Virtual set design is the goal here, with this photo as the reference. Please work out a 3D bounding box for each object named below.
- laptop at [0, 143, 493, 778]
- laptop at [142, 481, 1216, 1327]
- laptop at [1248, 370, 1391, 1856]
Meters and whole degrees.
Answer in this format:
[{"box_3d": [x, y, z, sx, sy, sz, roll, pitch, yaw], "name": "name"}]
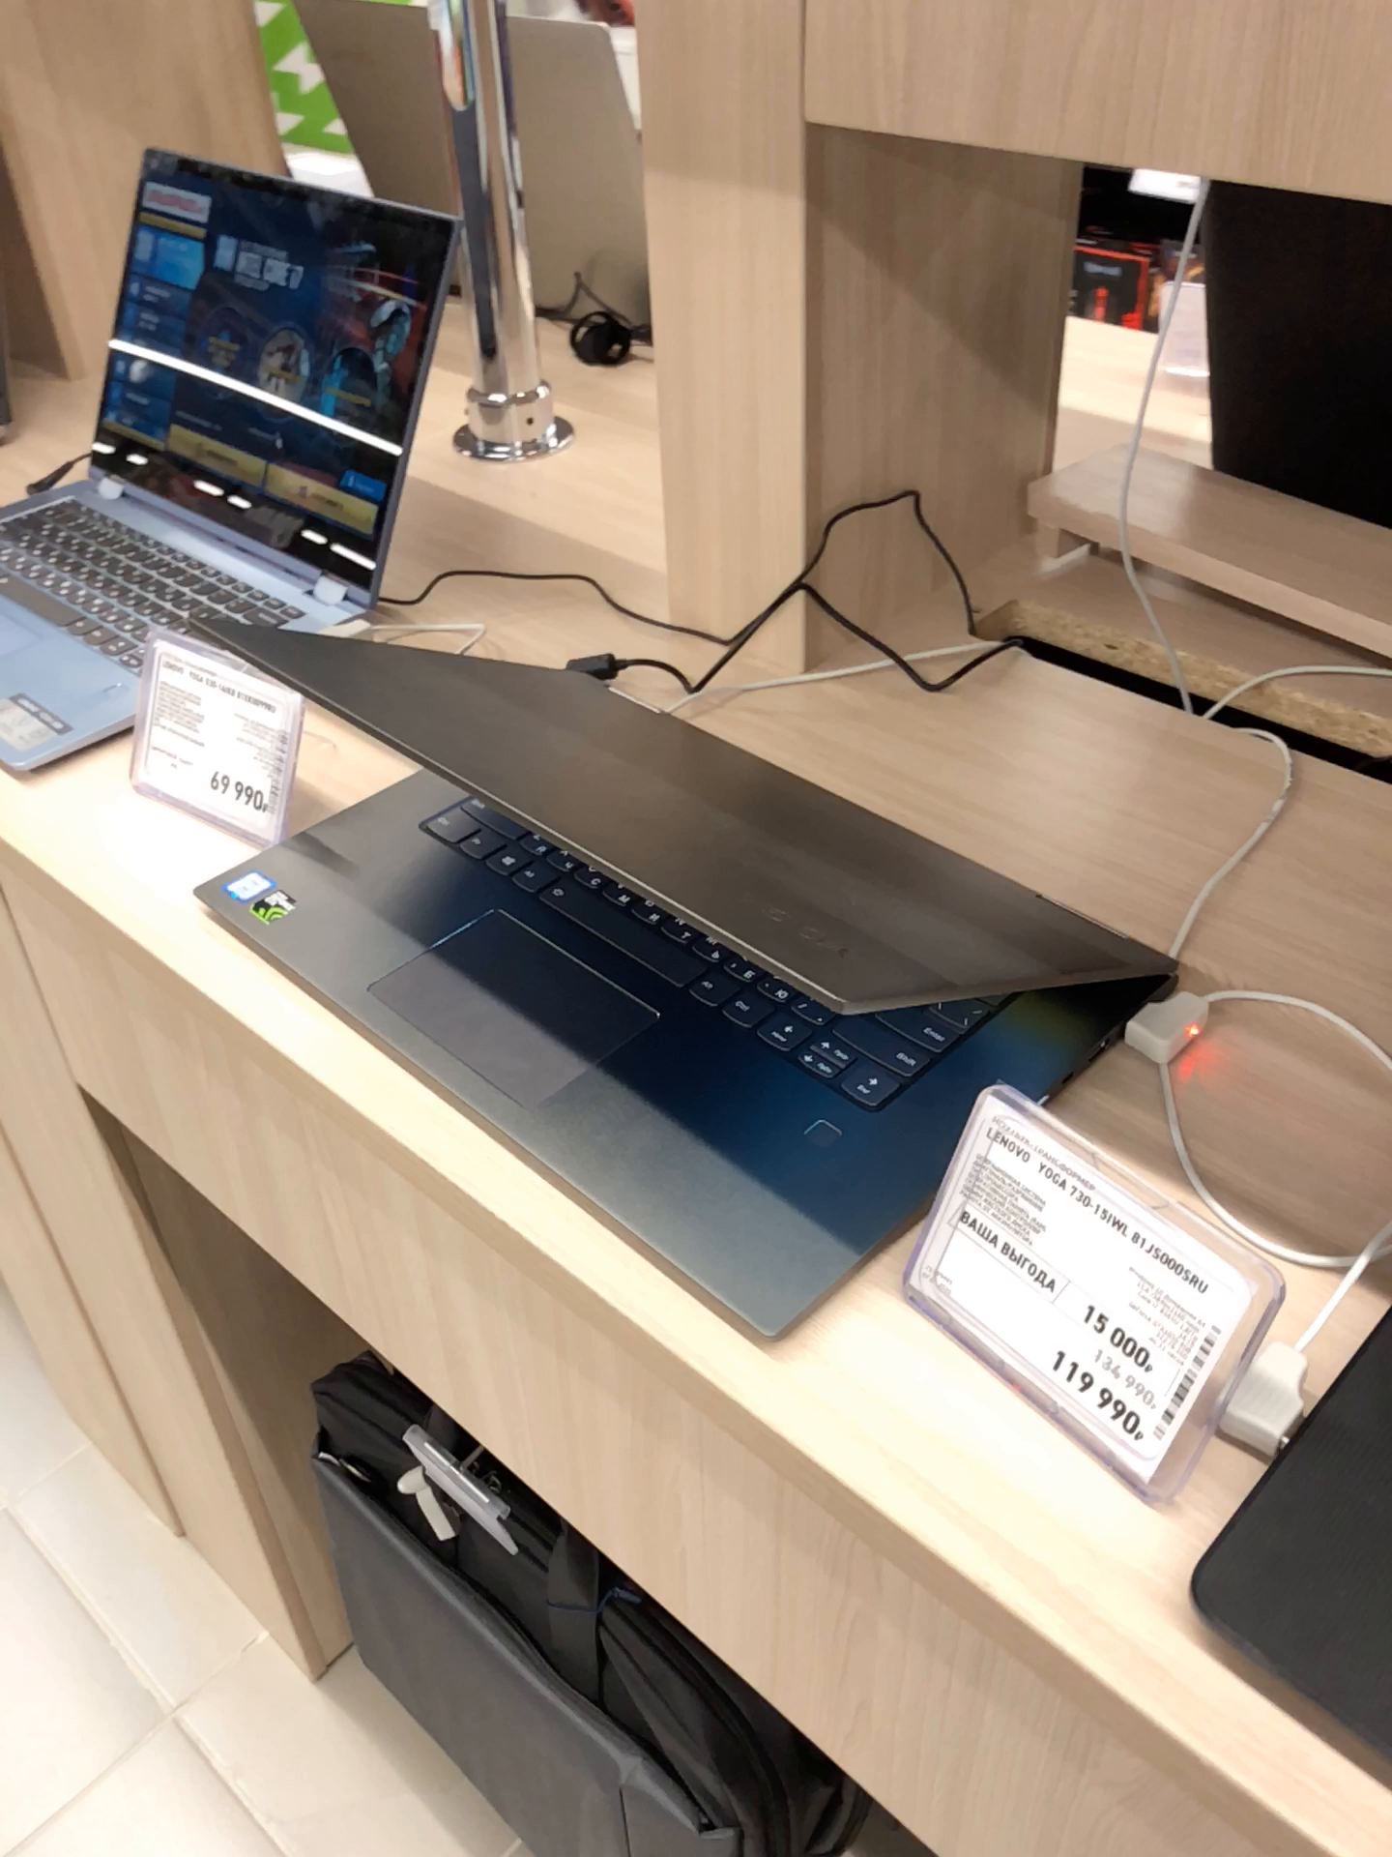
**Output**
[{"box_3d": [-0.370, -0.319, 0.949, 0.355, 0.201, 0.343, 28, 47, 33], "name": "laptop"}, {"box_3d": [-0.018, -0.047, 0.643, 0.363, 0.118, 0.243, 30, 49, 35], "name": "laptop"}, {"box_3d": [0.394, 0.091, 0.323, 0.403, 0.240, 0.305, 28, 49, 34], "name": "laptop"}]
